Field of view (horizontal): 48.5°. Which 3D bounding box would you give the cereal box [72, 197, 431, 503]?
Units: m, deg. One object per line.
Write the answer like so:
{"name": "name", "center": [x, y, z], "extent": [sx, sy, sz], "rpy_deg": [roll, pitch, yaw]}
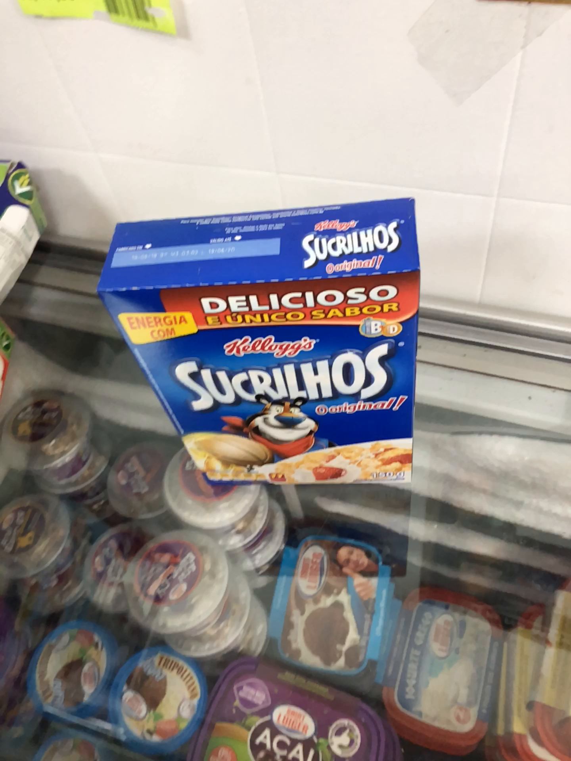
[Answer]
{"name": "cereal box", "center": [-0.002, 0.003, 0.339], "extent": [0.140, 0.199, 0.050], "rpy_deg": [-2, 56, 8]}
